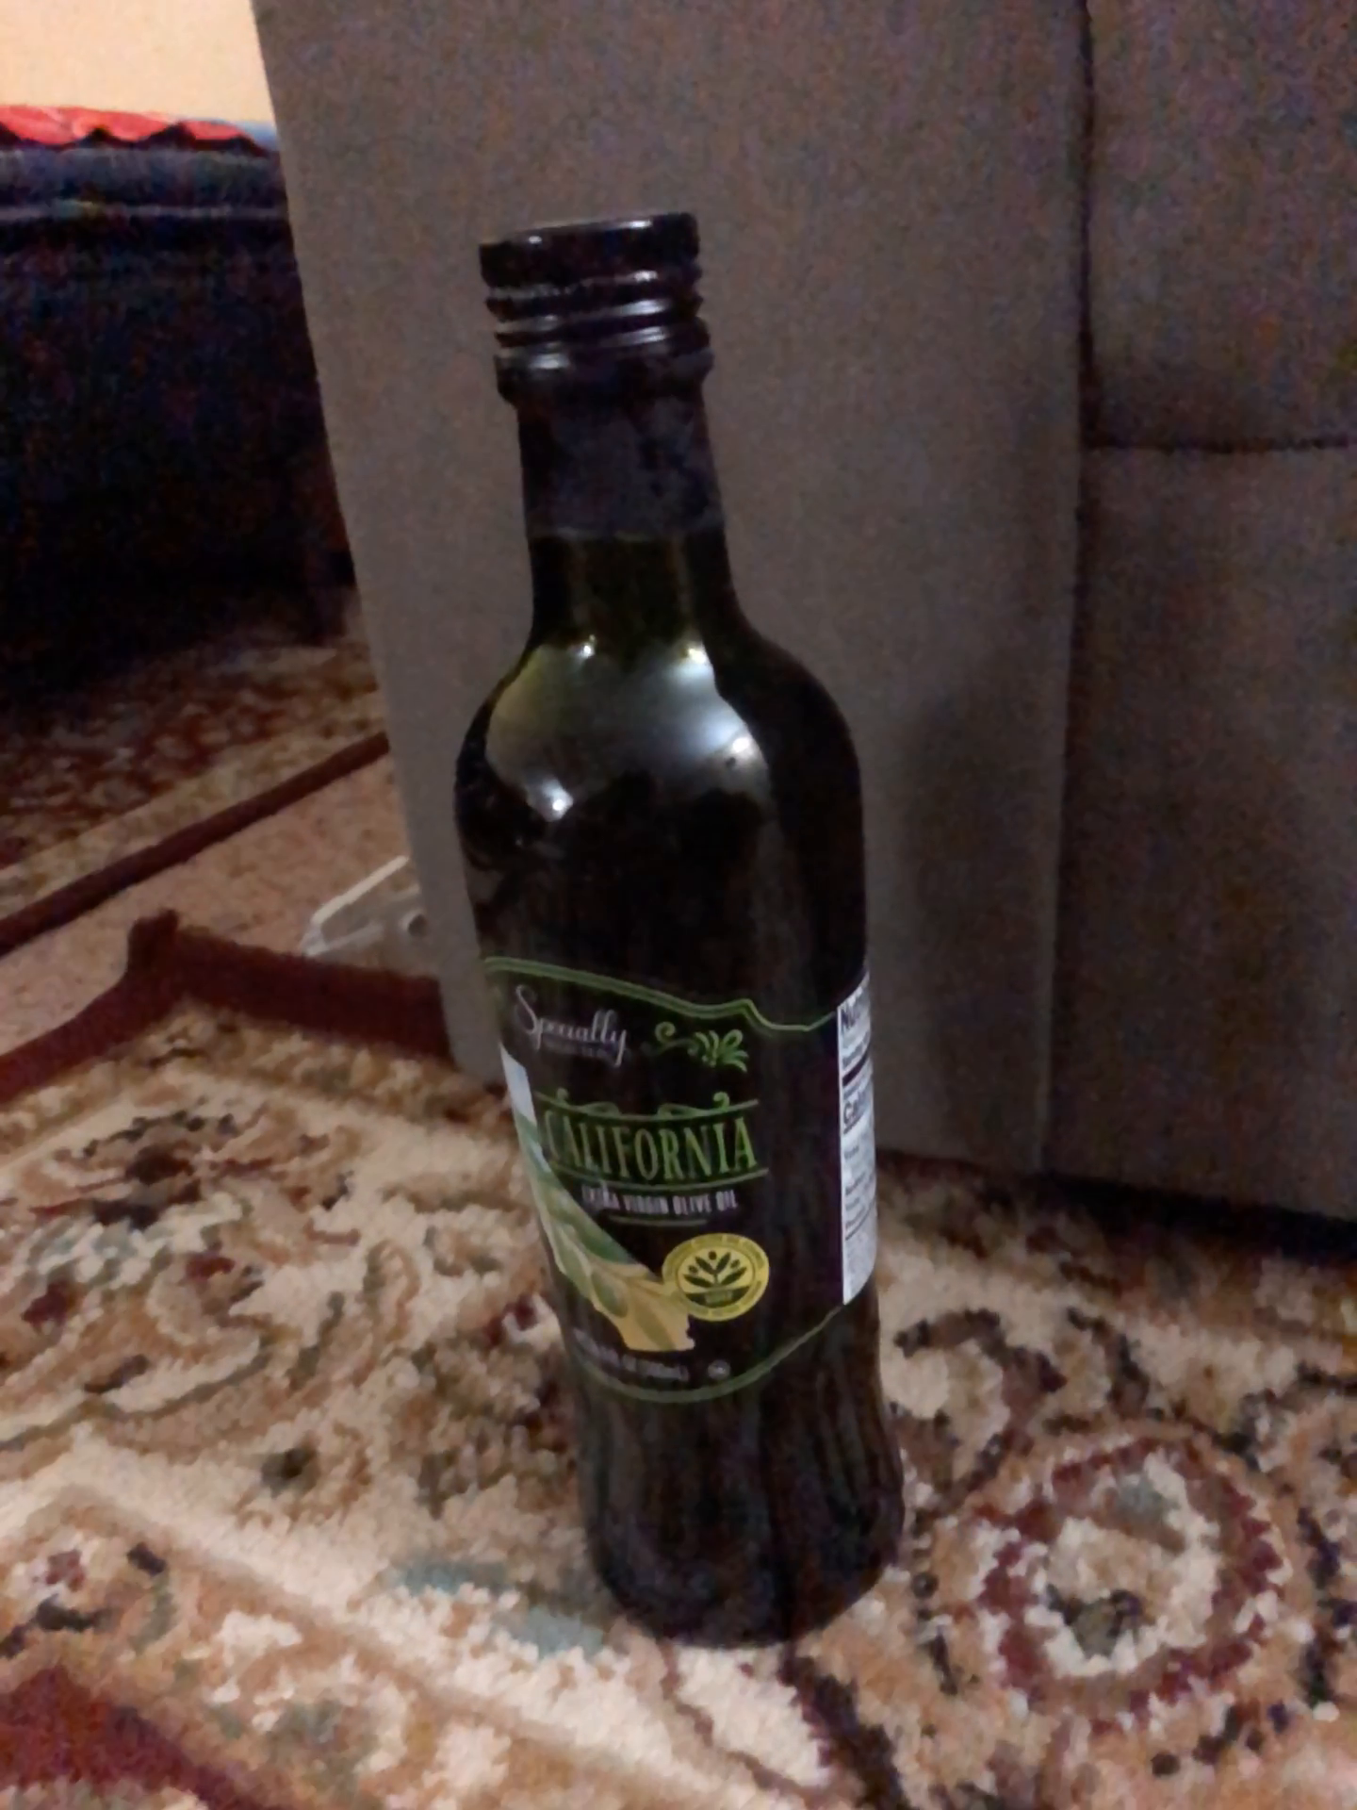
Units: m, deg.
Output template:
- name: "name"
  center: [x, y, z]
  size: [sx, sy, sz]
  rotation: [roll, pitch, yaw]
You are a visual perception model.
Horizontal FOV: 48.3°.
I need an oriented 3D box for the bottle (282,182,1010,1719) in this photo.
- name: "bottle"
  center: [0.007, 0.015, 0.280]
  size: [0.080, 0.259, 0.070]
  rotation: [5, 24, 28]
